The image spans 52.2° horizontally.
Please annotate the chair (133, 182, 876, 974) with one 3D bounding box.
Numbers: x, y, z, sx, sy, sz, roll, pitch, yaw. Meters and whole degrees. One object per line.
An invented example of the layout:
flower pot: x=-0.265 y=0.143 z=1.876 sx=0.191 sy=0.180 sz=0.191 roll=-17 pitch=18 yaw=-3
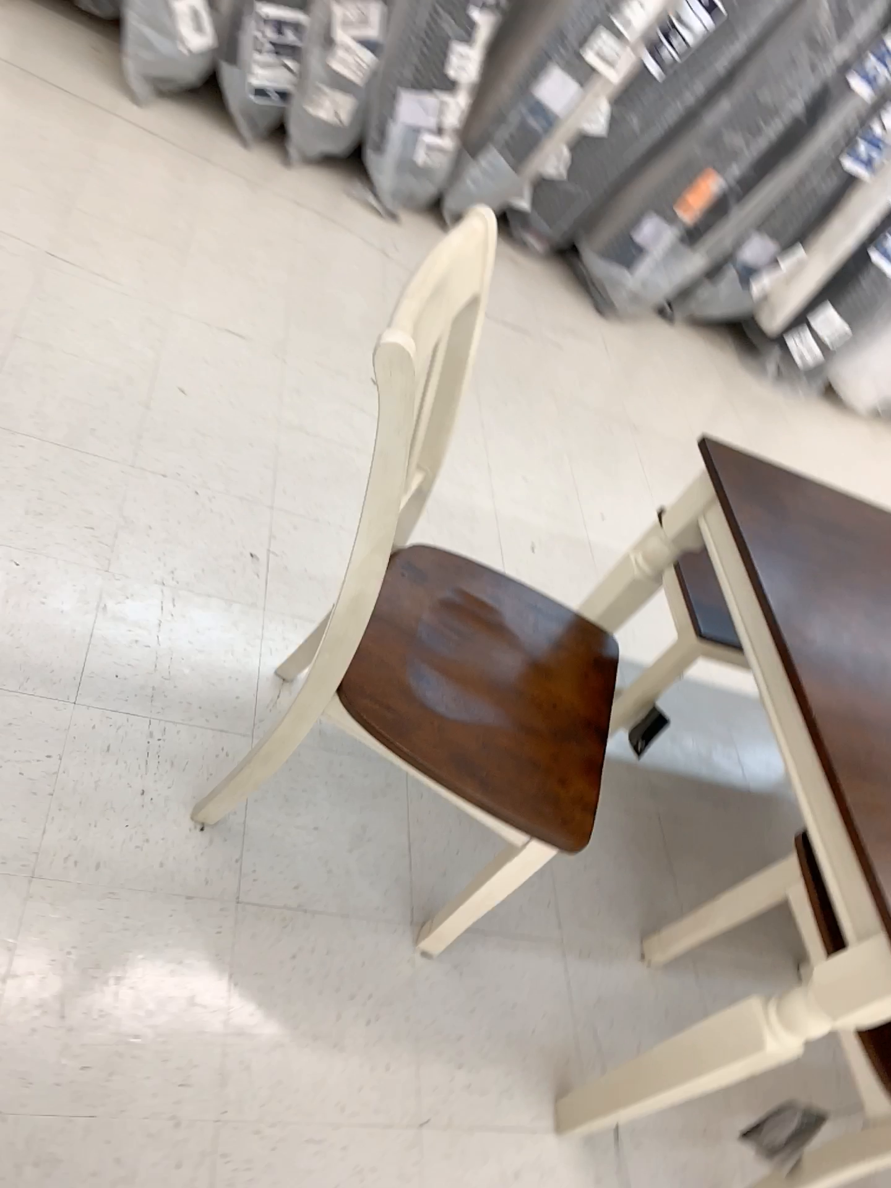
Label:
chair: x=0.030 y=0.035 z=1.342 sx=0.570 sy=0.906 sz=0.533 roll=29 pitch=41 yaw=-8
